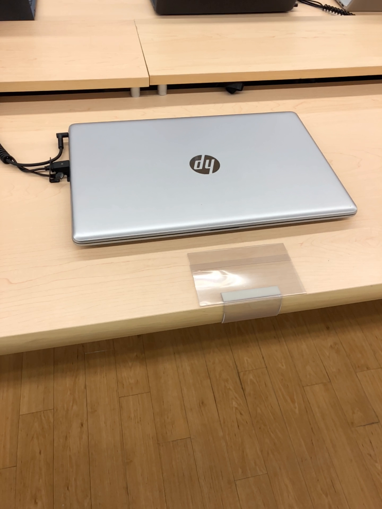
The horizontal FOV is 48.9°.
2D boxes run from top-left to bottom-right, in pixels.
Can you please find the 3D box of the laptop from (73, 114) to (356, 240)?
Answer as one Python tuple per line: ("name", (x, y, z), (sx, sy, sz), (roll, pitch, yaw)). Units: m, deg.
("laptop", (0.022, -0.139, 0.662), (0.397, 0.001, 0.258), (-7, 51, -10))
